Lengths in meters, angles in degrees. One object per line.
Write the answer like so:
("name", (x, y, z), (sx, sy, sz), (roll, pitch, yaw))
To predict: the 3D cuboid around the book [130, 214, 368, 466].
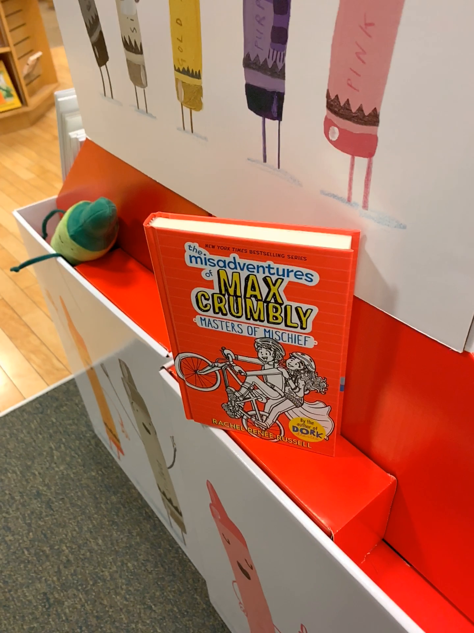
("book", (0.012, 0.027, 0.364), (0.142, 0.201, 0.031), (8, 43, 14))
